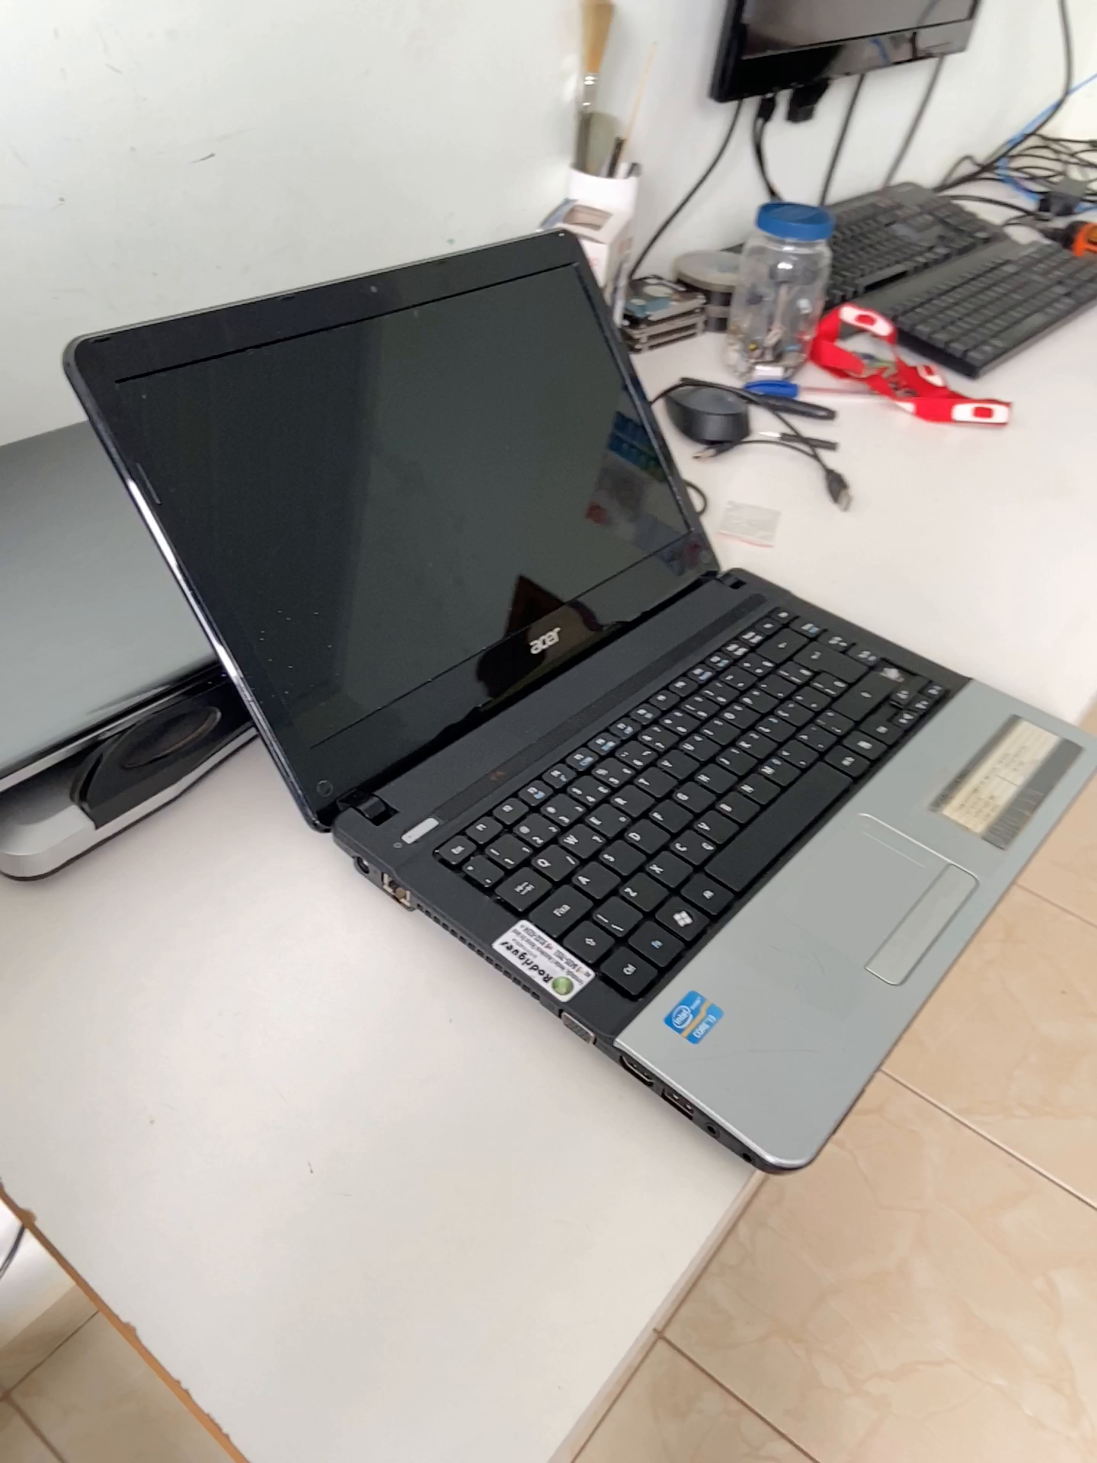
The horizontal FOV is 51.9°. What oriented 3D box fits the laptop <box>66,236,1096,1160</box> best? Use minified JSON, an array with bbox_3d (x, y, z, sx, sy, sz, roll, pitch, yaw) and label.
[{"bbox_3d":[0.047,-0.076,0.538,0.396,0.163,0.333,31,44,27],"label":"laptop"}]
